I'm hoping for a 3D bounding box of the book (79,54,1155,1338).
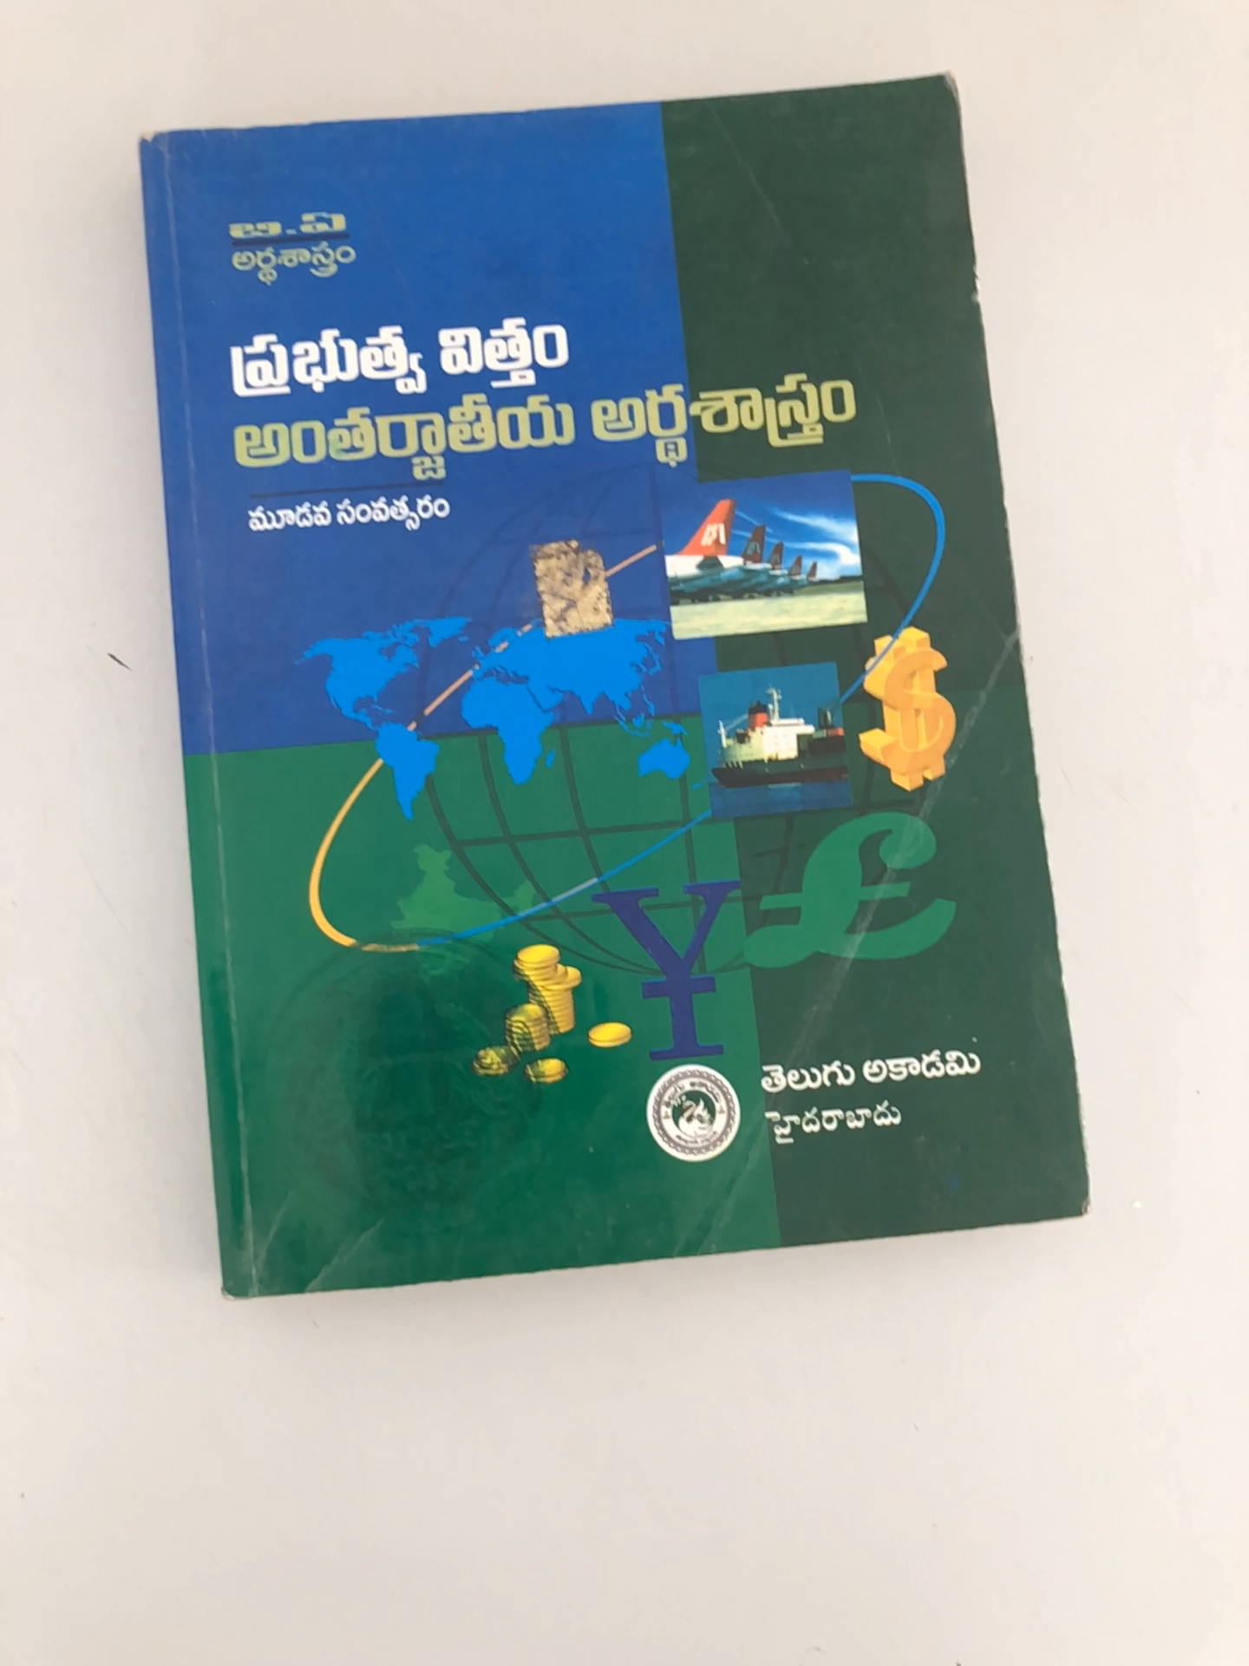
[{"bbox_3d":[-0.006,-0.032,0.295,0.190,0.050,0.240,-5,84,-3],"label":"book"}]
